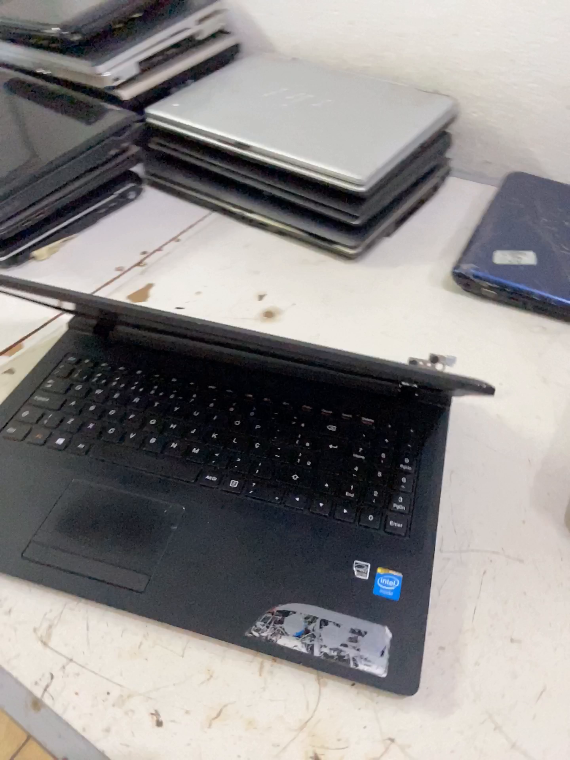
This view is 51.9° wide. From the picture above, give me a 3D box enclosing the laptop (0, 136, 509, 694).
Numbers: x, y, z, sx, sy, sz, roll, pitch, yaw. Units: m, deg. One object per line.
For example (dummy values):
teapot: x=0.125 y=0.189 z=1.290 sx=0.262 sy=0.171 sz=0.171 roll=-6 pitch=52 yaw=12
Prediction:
laptop: x=-0.067 y=-0.004 z=0.408 sx=0.375 sy=0.189 sz=0.259 roll=12 pitch=46 yaw=11
